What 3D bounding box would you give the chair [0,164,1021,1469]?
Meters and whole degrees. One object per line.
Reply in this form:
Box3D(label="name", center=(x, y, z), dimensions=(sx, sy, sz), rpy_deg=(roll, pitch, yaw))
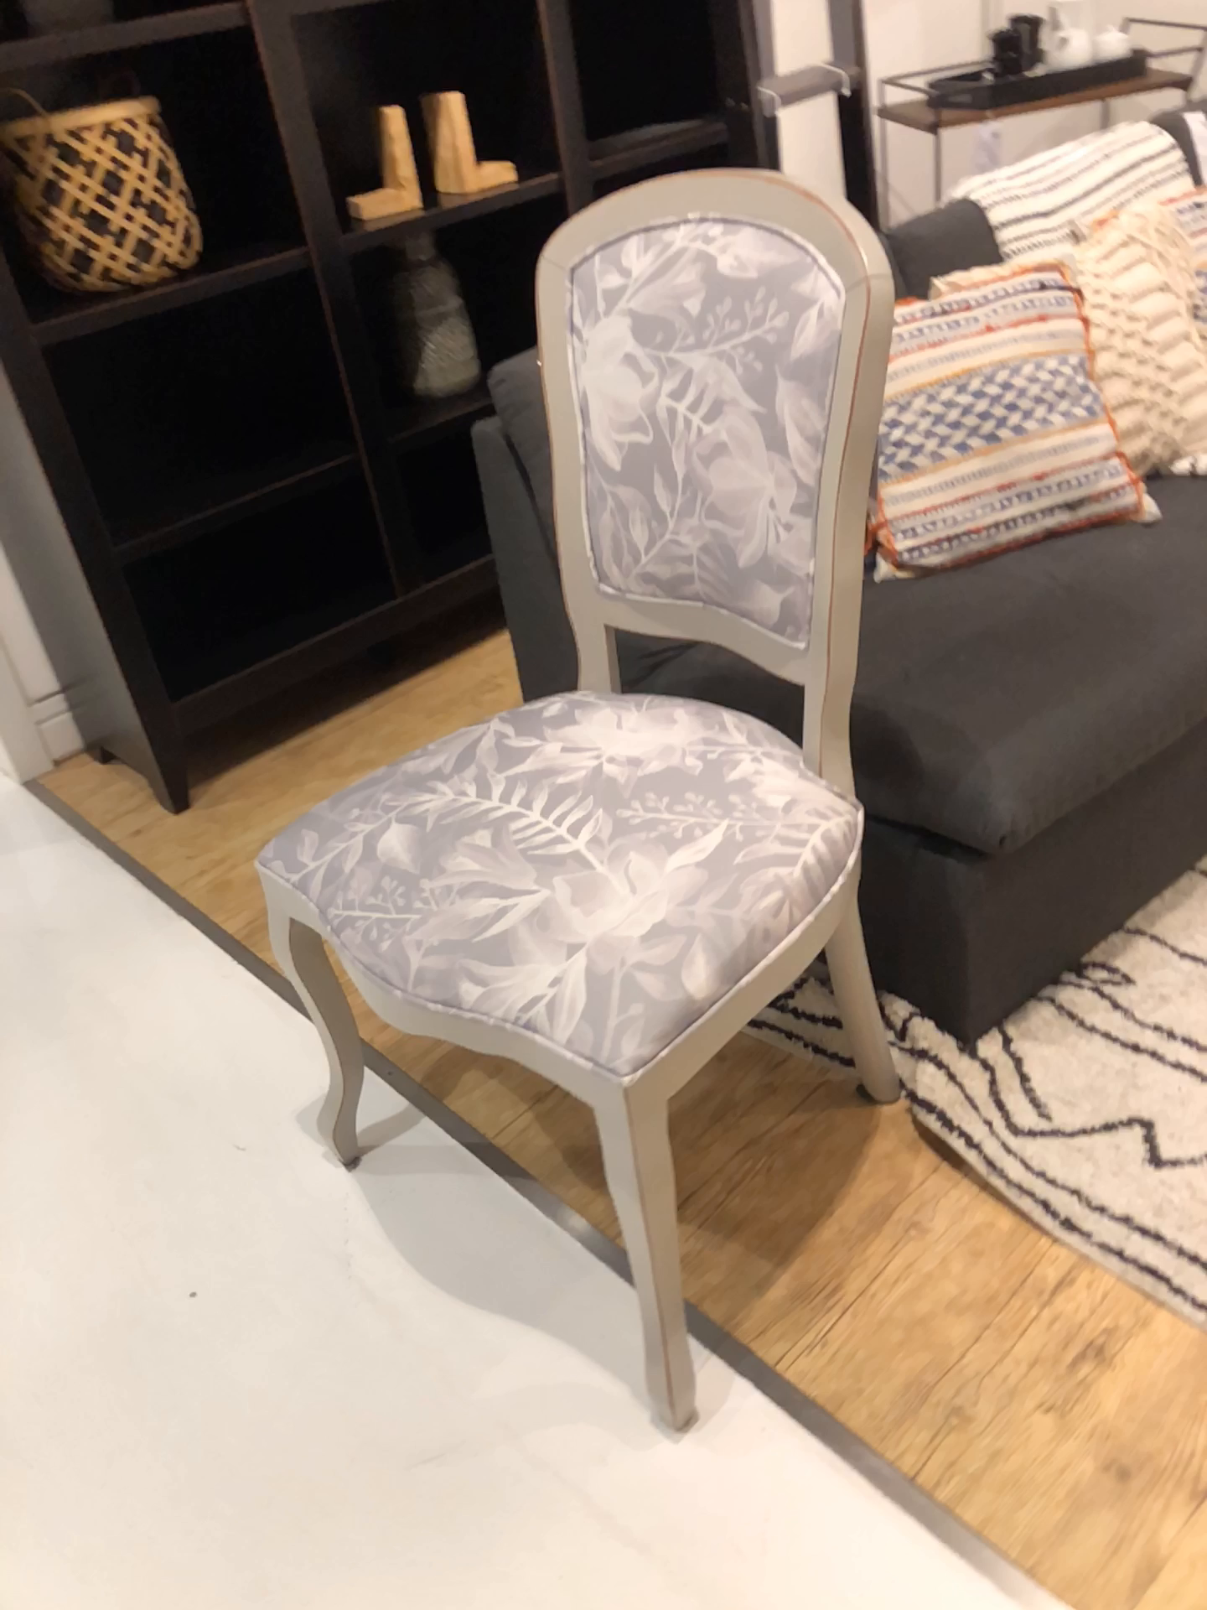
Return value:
Box3D(label="chair", center=(-0.023, -0.026, 1.236), dimensions=(0.532, 0.942, 0.573), rpy_deg=(-33, 39, -31))
